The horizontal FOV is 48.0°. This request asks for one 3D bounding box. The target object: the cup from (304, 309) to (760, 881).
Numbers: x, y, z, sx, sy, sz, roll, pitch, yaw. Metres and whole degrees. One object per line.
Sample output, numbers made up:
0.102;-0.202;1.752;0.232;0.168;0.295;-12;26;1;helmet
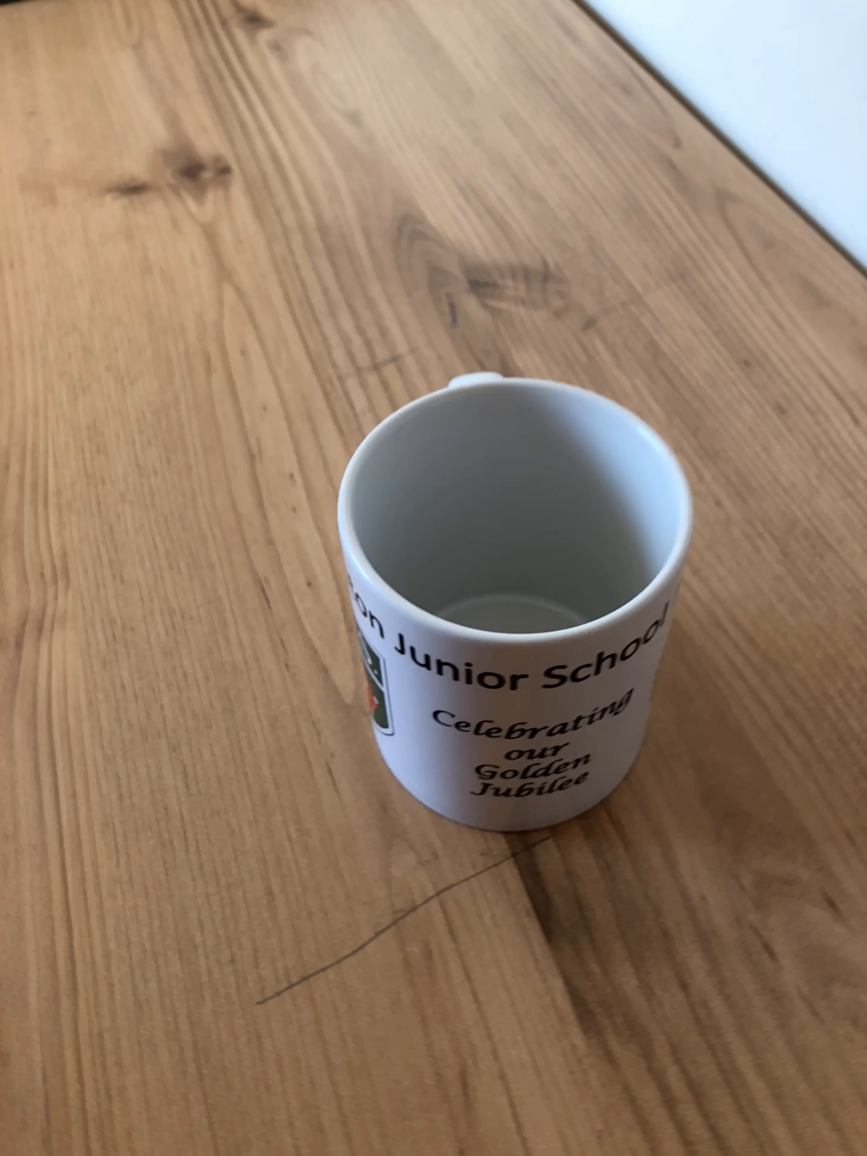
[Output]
0.017;0.003;0.266;0.083;0.096;0.110;-8;47;-6;cup
